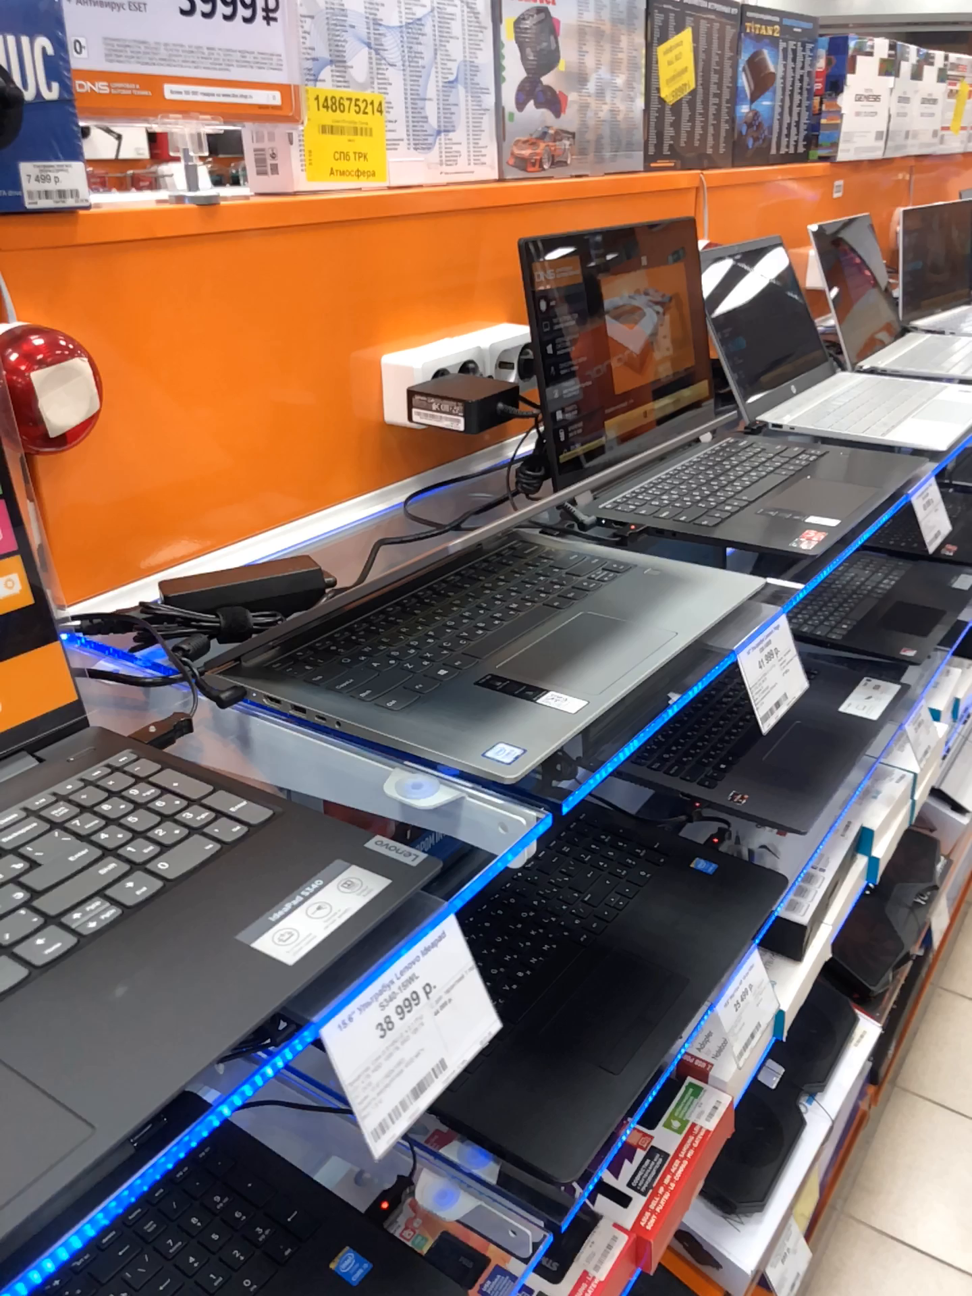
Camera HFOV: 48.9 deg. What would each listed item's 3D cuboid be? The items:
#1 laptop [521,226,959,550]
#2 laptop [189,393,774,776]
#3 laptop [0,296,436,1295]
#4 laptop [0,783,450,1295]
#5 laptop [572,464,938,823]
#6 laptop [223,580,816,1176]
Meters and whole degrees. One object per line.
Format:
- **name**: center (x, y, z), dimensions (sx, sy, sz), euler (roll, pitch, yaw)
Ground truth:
- **laptop**: center (0.229, -0.249, 0.941), dimensions (0.246, 0.210, 0.329), euler (14, 28, 29)
- **laptop**: center (0.015, -0.066, 0.667), dimensions (0.210, 0.110, 0.314), euler (16, 29, 31)
- **laptop**: center (-0.224, 0.021, 0.347), dimensions (0.276, 0.219, 0.330), euler (14, 28, 30)
- **laptop**: center (-0.207, 0.276, 0.478), dimensions (0.243, 0.222, 0.334), euler (18, 30, 30)
- **laptop**: center (0.286, -0.026, 1.119), dimensions (0.235, 0.228, 0.330), euler (16, 29, 30)
- **laptop**: center (0.044, 0.131, 0.810), dimensions (0.260, 0.223, 0.362), euler (16, 29, 32)
